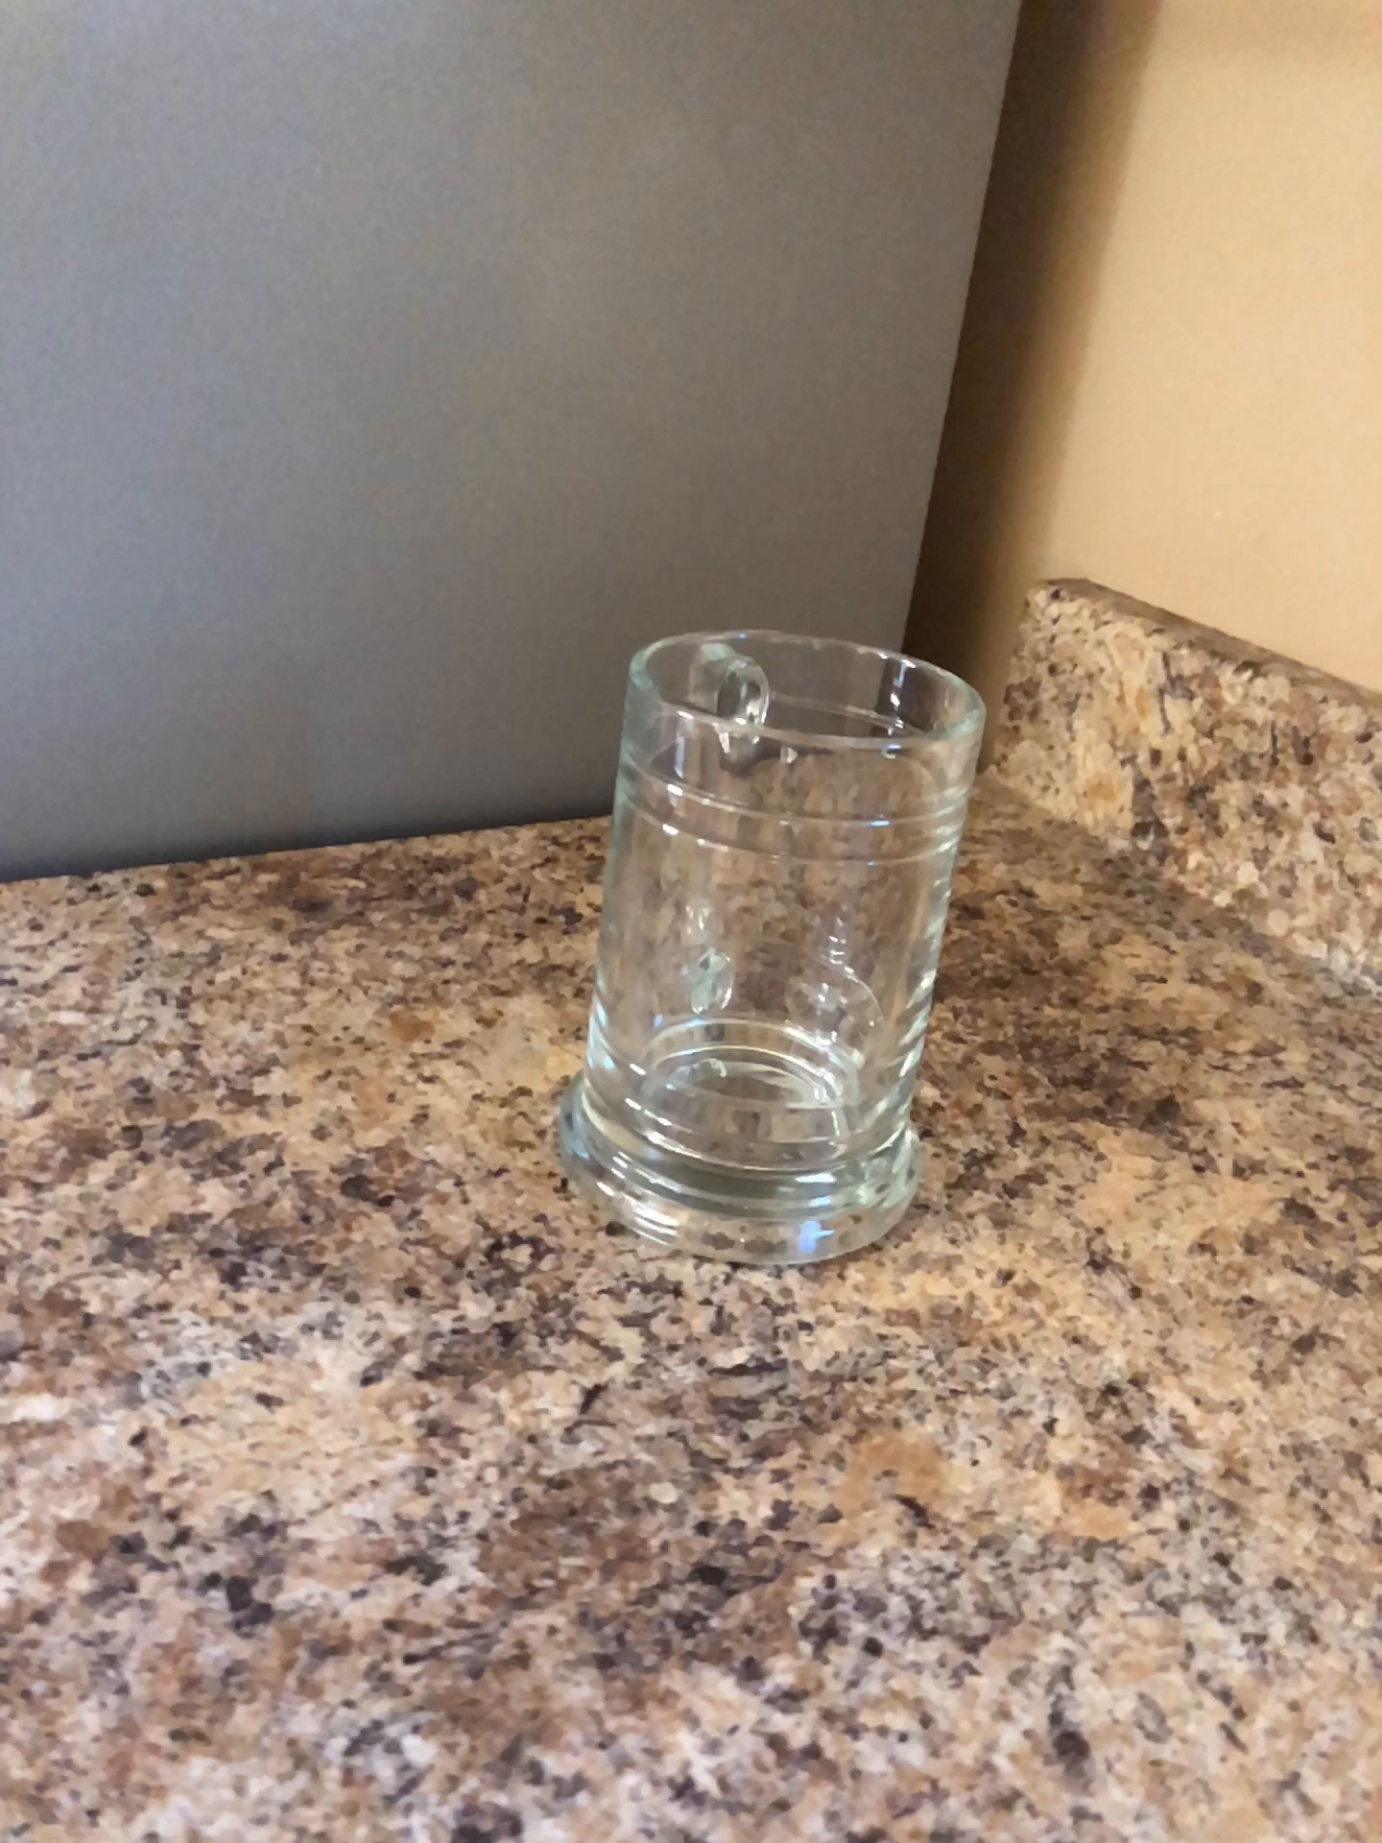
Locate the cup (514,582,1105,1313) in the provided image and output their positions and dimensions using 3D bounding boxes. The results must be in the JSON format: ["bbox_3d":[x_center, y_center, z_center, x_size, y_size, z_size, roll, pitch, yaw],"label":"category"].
[{"bbox_3d":[0.017,0.000,0.399,0.100,0.139,0.131,0,27,-15],"label":"cup"}]
